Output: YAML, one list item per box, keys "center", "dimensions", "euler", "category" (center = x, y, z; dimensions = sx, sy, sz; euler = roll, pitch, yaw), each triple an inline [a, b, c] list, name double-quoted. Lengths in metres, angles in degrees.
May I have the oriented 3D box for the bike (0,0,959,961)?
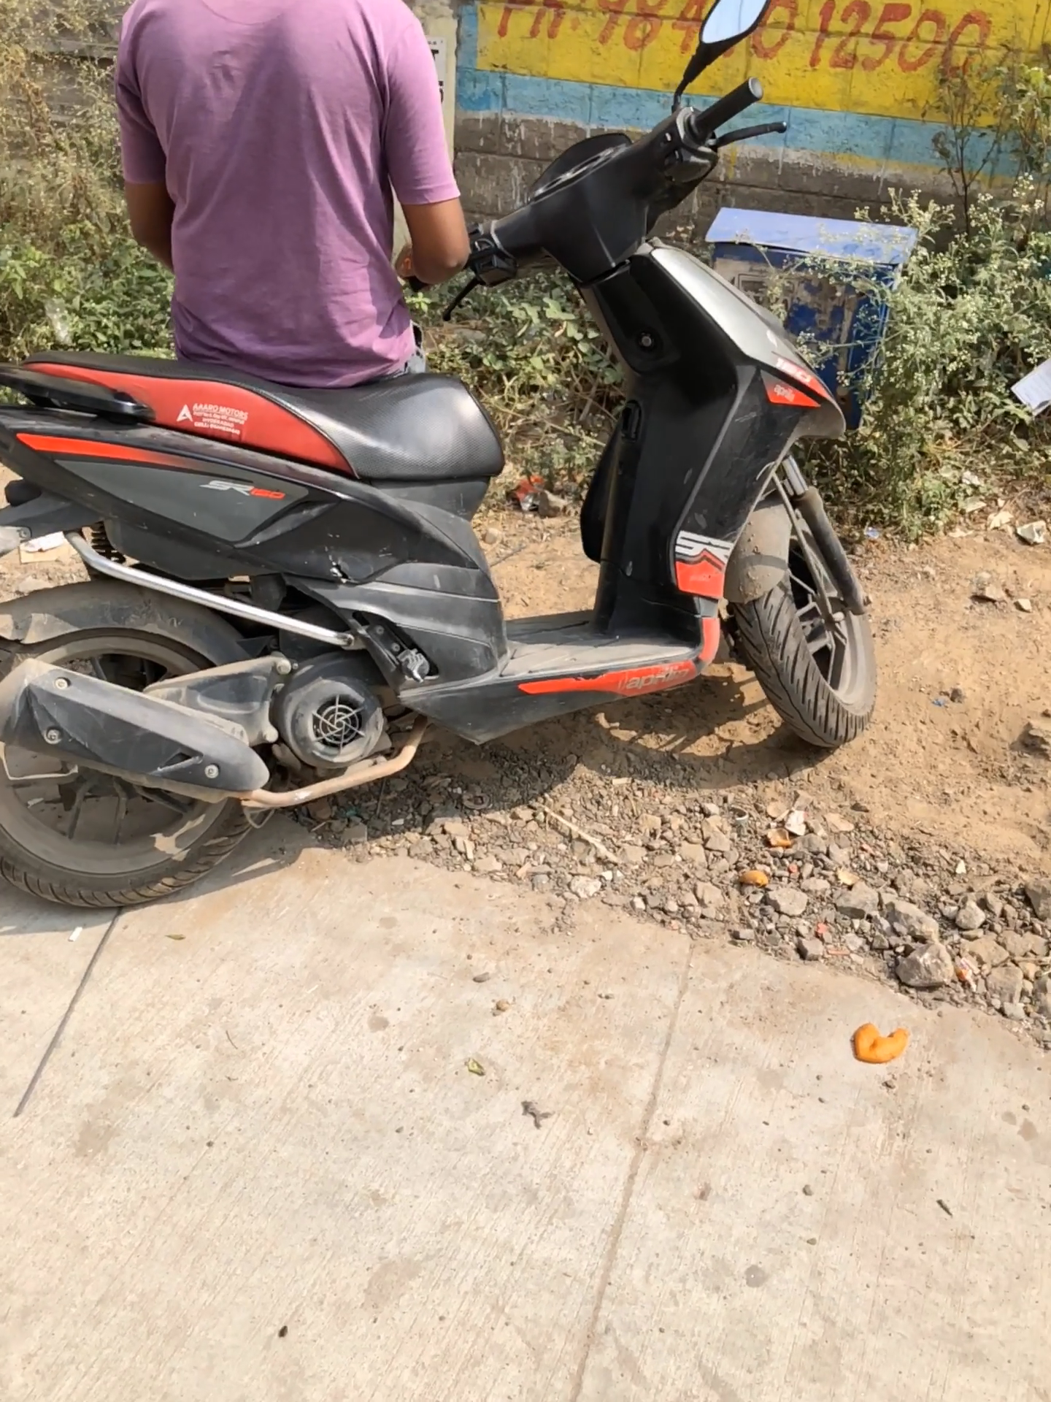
- center: [-0.224, -0.551, 2.118]
  dimensions: [1.771, 1.199, 0.719]
  euler: [-18, 39, -26]
  category: "bike"
